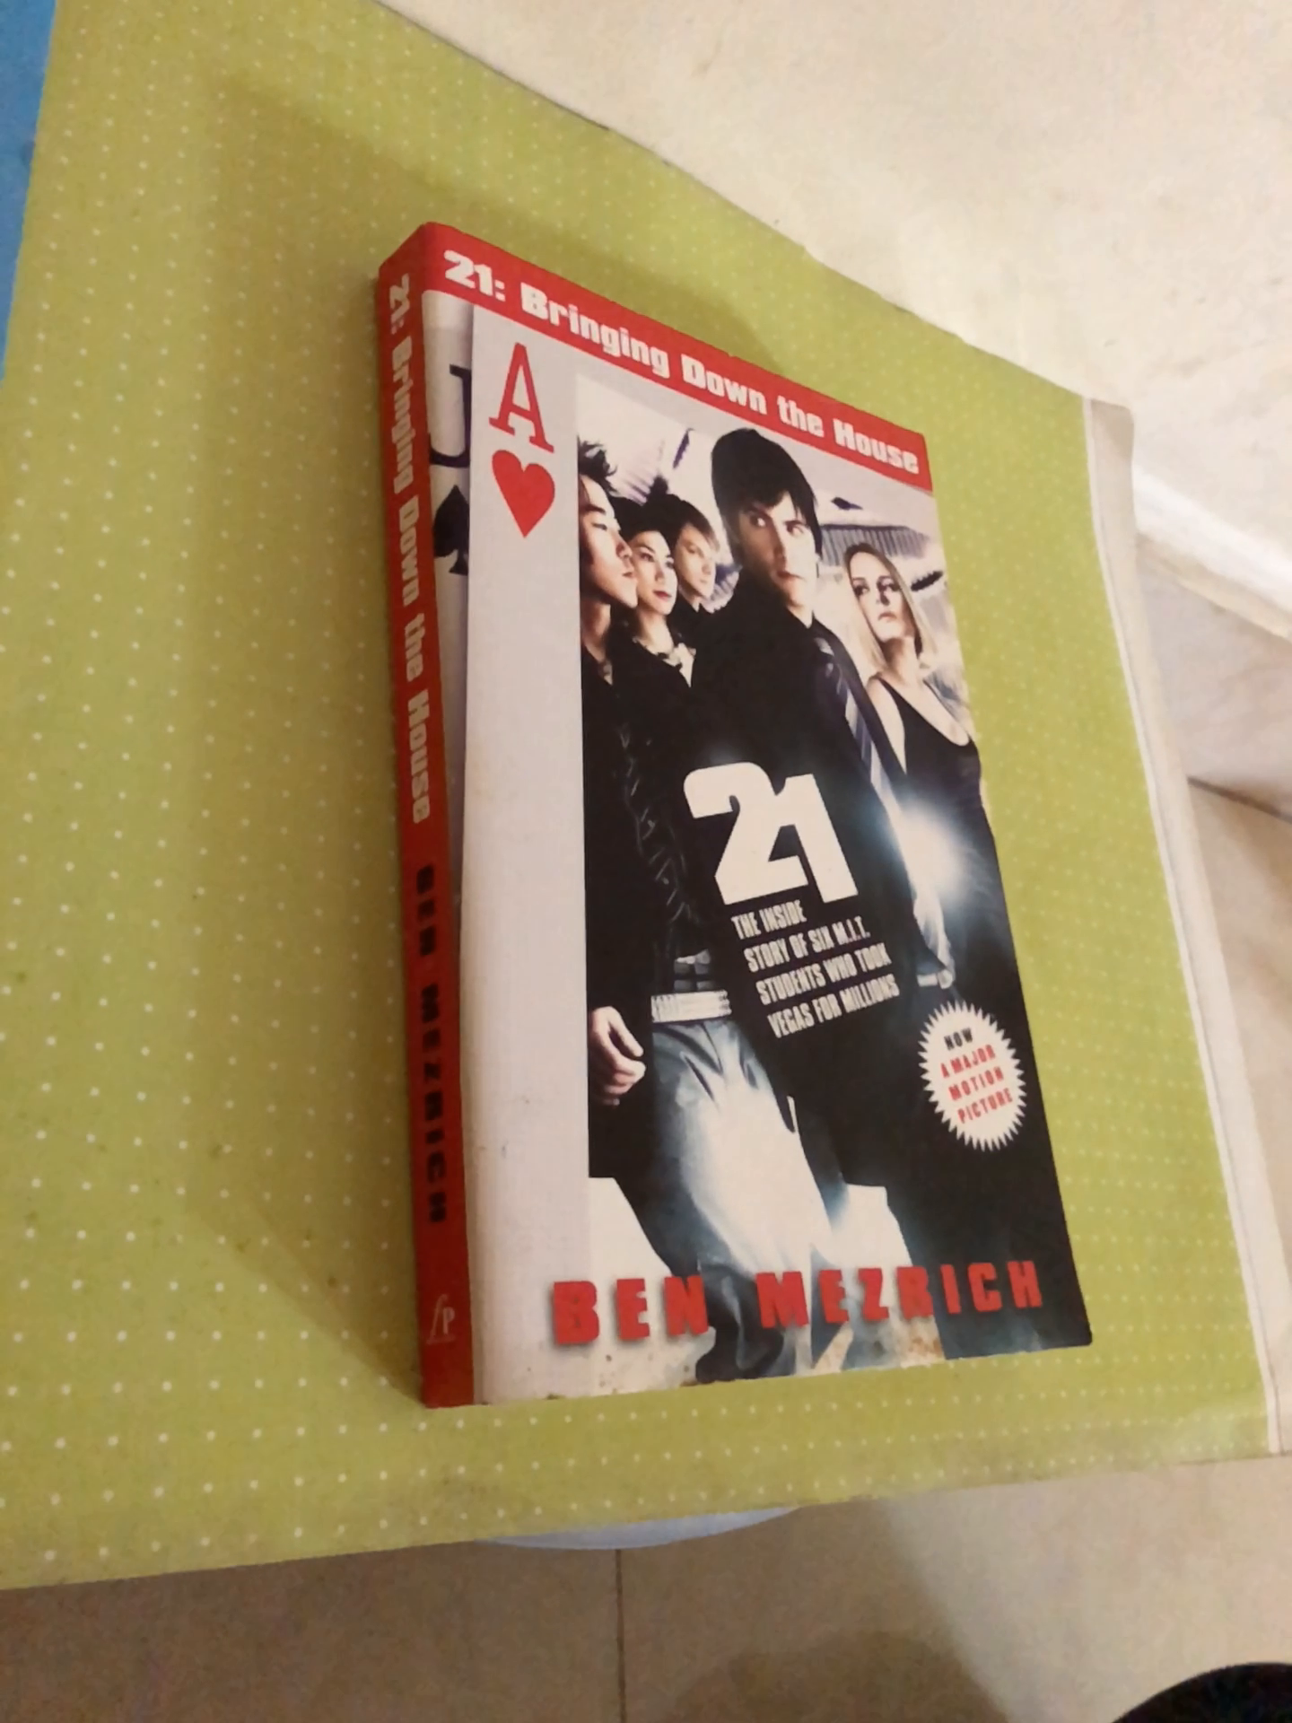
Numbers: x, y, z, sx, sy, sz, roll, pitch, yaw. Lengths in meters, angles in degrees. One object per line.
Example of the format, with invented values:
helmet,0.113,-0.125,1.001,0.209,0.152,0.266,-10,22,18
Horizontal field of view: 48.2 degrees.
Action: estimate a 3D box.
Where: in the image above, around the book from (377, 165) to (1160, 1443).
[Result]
book,0.020,-0.010,0.273,0.131,0.040,0.210,9,66,-35
